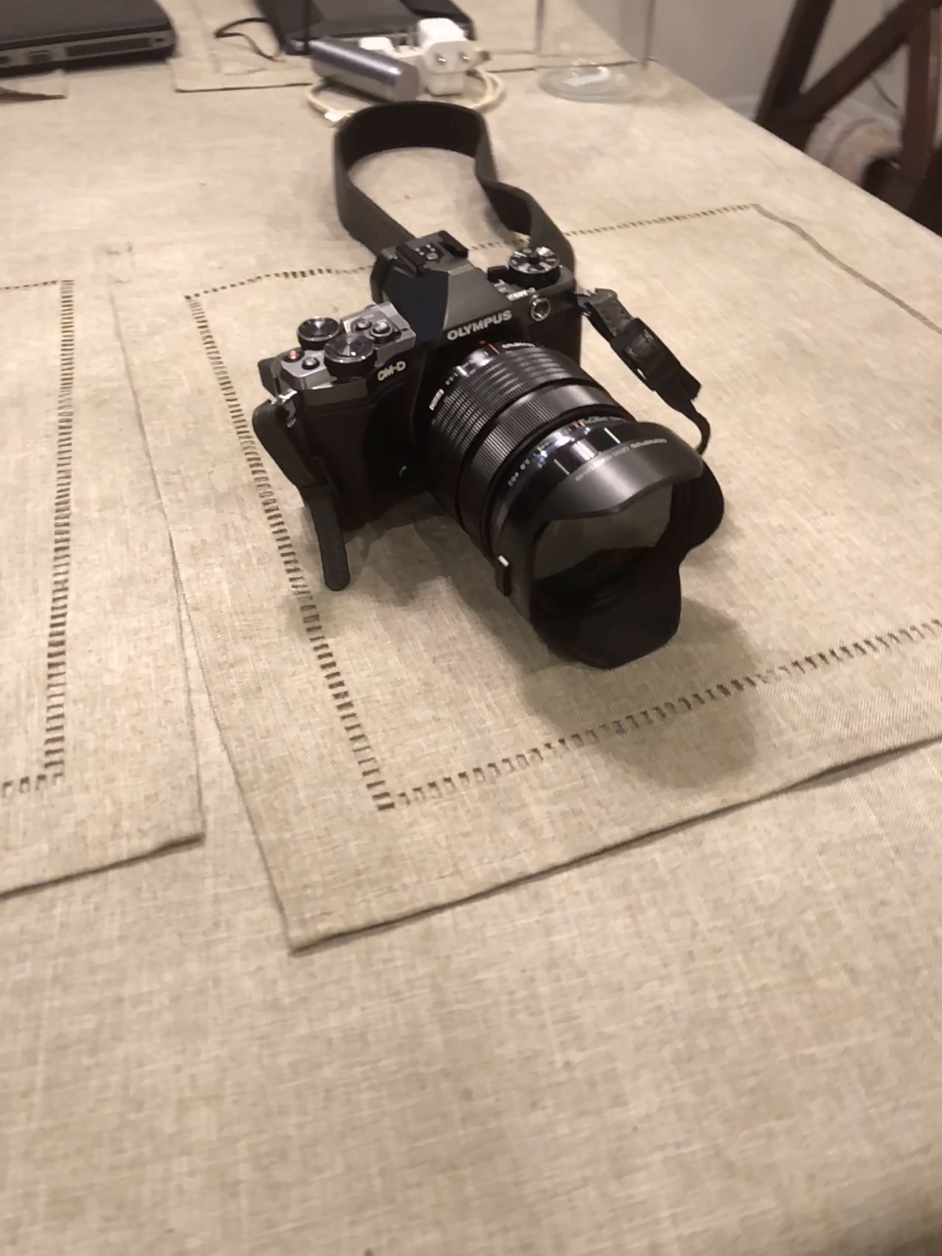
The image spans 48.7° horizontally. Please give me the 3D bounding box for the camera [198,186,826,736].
[{"bbox_3d":[0.007,-0.070,0.359,0.124,0.092,0.165,-26,47,-25],"label":"camera"}]
